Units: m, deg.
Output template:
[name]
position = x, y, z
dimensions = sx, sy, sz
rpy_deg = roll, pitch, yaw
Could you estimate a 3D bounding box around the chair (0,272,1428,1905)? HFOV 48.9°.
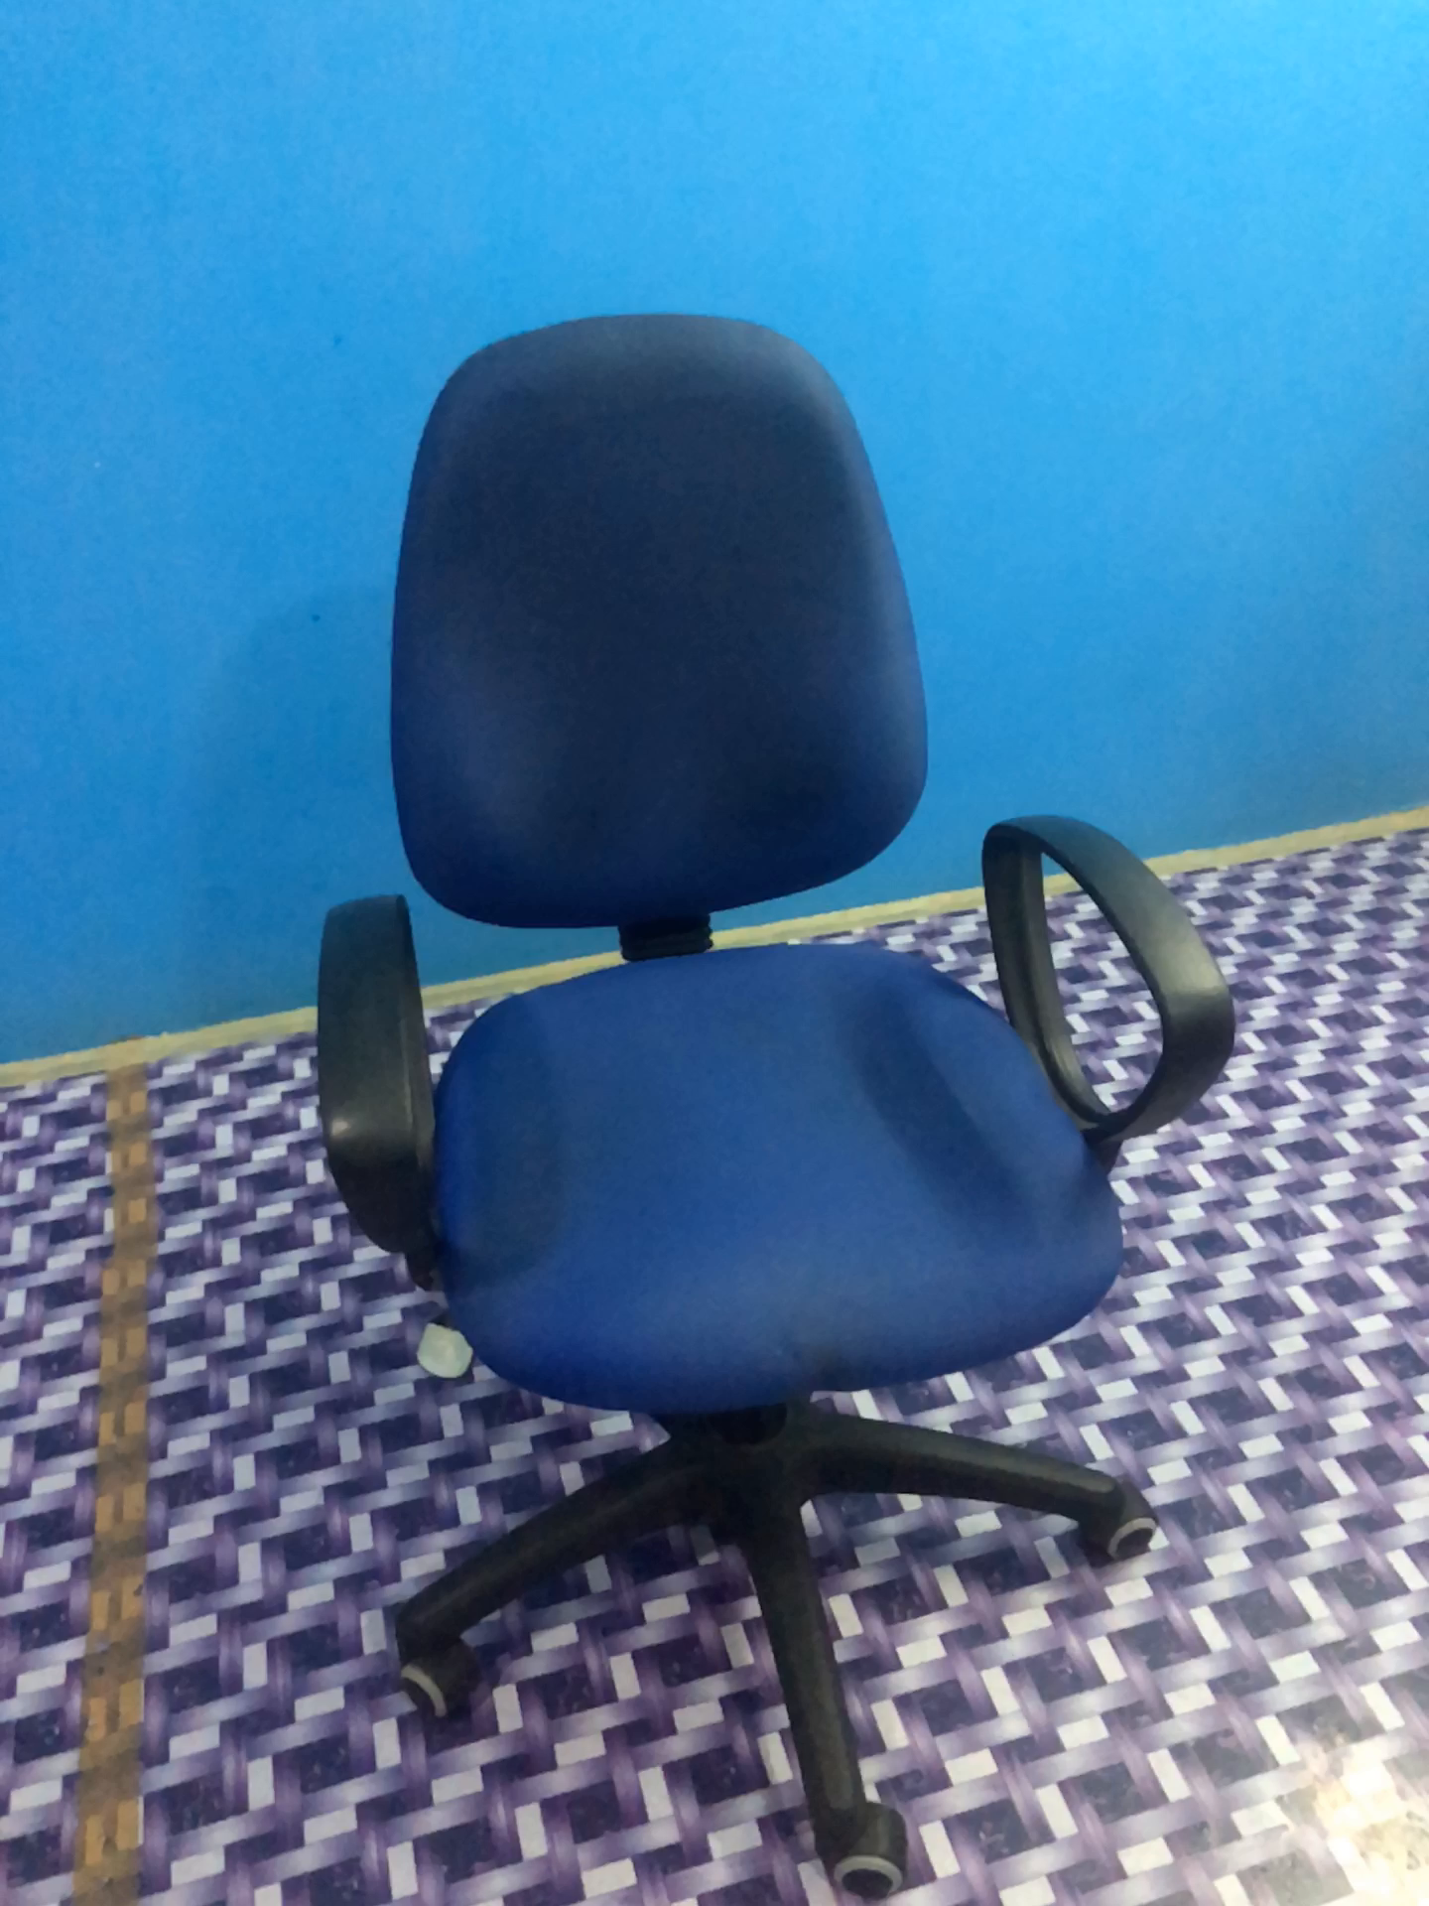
[chair]
position = 0.035, 0.089, 1.108
dimensions = 0.701, 0.915, 0.693
rpy_deg = -6, 33, -9
